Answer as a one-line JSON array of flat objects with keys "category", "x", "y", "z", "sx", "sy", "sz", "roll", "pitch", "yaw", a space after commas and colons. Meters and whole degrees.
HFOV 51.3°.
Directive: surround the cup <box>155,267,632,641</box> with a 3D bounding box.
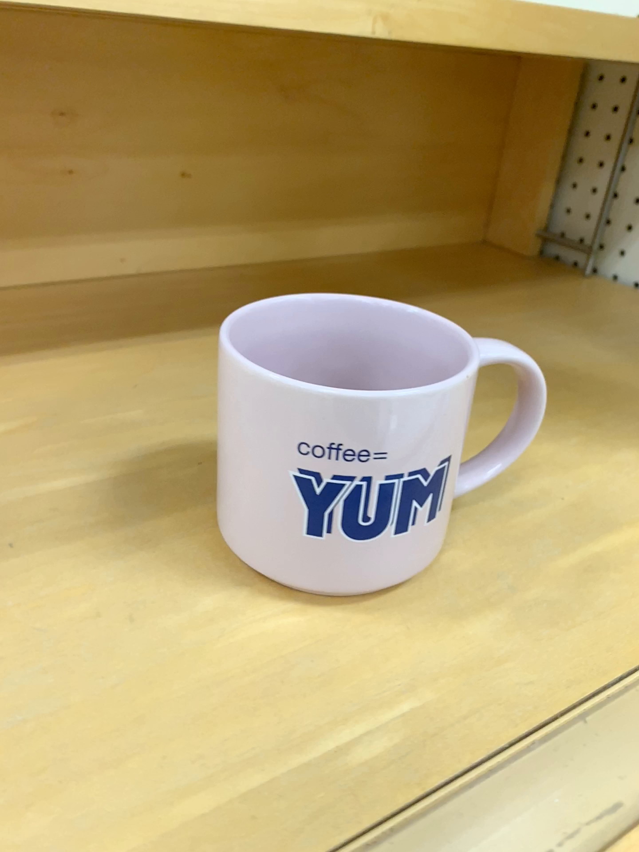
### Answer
[{"category": "cup", "x": 0.022, "y": -0.003, "z": 0.258, "sx": 0.141, "sy": 0.082, "sz": 0.097, "roll": -11, "pitch": 33, "yaw": -26}]
